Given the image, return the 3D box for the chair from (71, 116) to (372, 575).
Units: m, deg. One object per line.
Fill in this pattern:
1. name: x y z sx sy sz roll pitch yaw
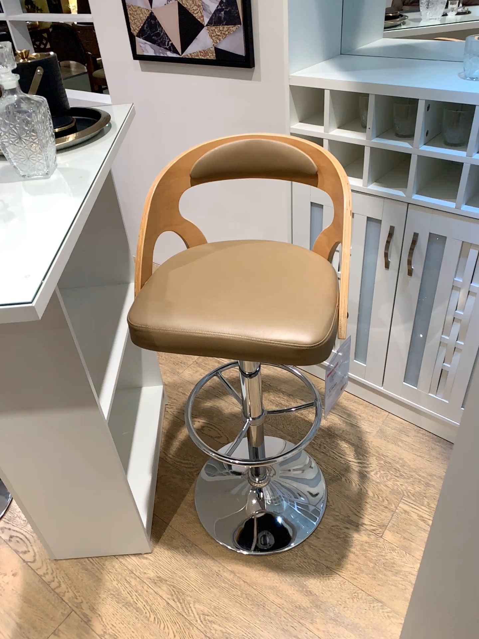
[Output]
1. chair: 0.043 0.106 1.221 0.430 1.046 0.462 8 40 17
